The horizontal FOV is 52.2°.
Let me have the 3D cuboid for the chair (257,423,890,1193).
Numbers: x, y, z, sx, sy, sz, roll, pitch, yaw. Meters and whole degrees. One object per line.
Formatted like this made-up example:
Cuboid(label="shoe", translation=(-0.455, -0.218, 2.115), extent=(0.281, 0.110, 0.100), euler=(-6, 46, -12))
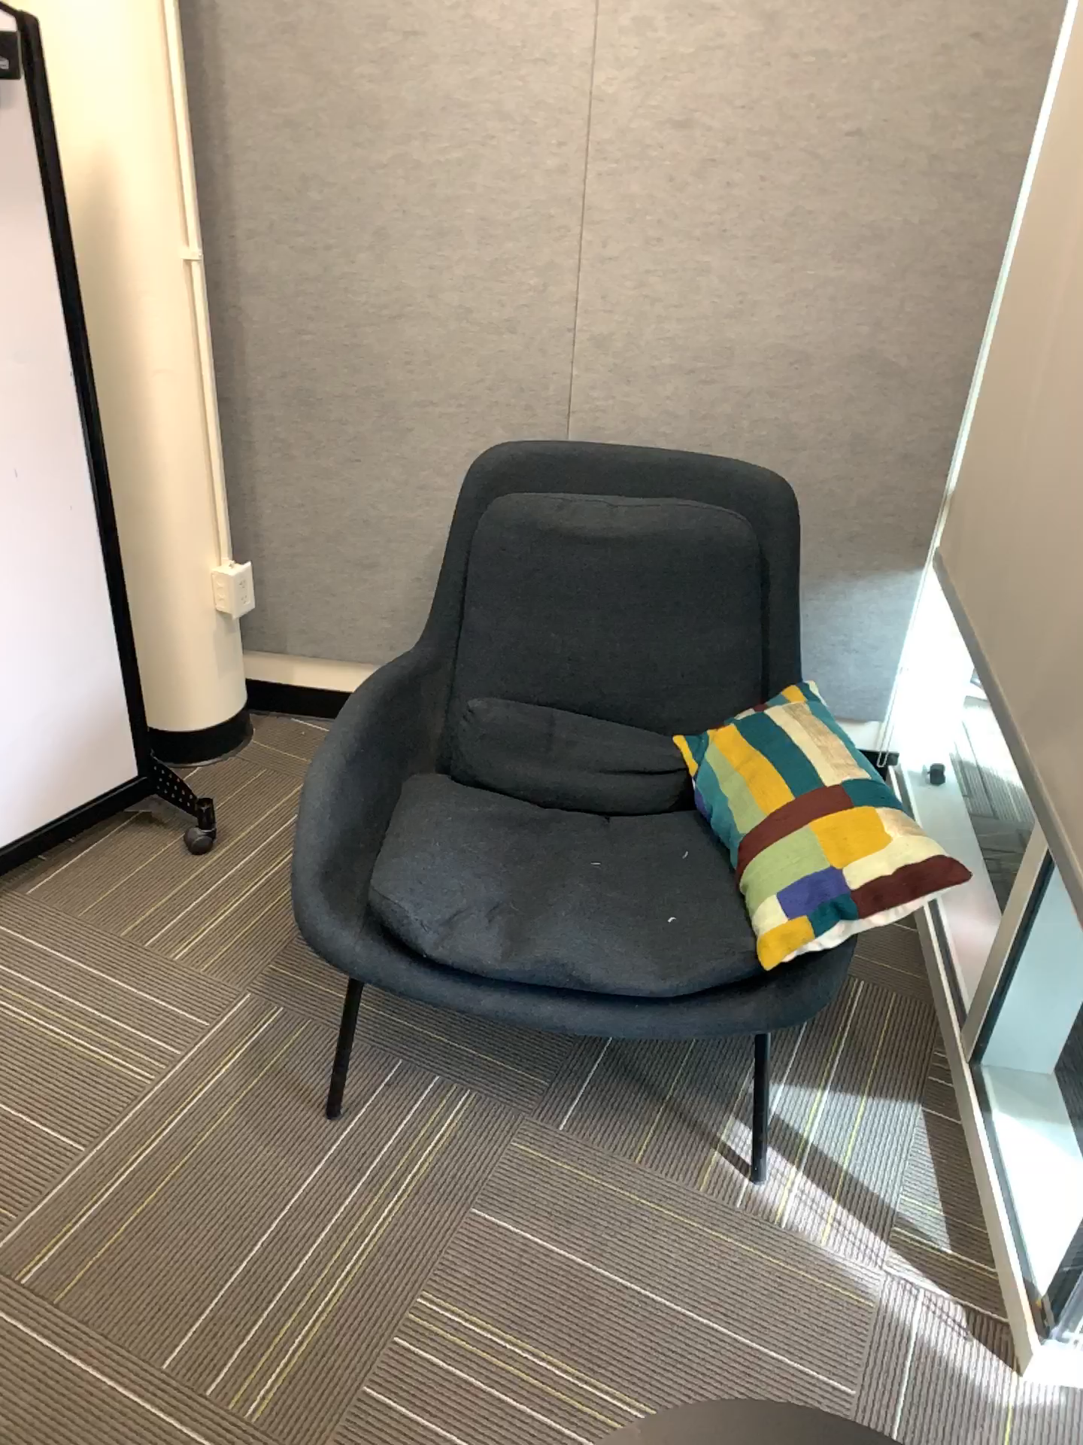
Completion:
Cuboid(label="chair", translation=(0.113, 0.056, 1.975), extent=(0.790, 0.815, 1.005), euler=(10, 32, 10))
